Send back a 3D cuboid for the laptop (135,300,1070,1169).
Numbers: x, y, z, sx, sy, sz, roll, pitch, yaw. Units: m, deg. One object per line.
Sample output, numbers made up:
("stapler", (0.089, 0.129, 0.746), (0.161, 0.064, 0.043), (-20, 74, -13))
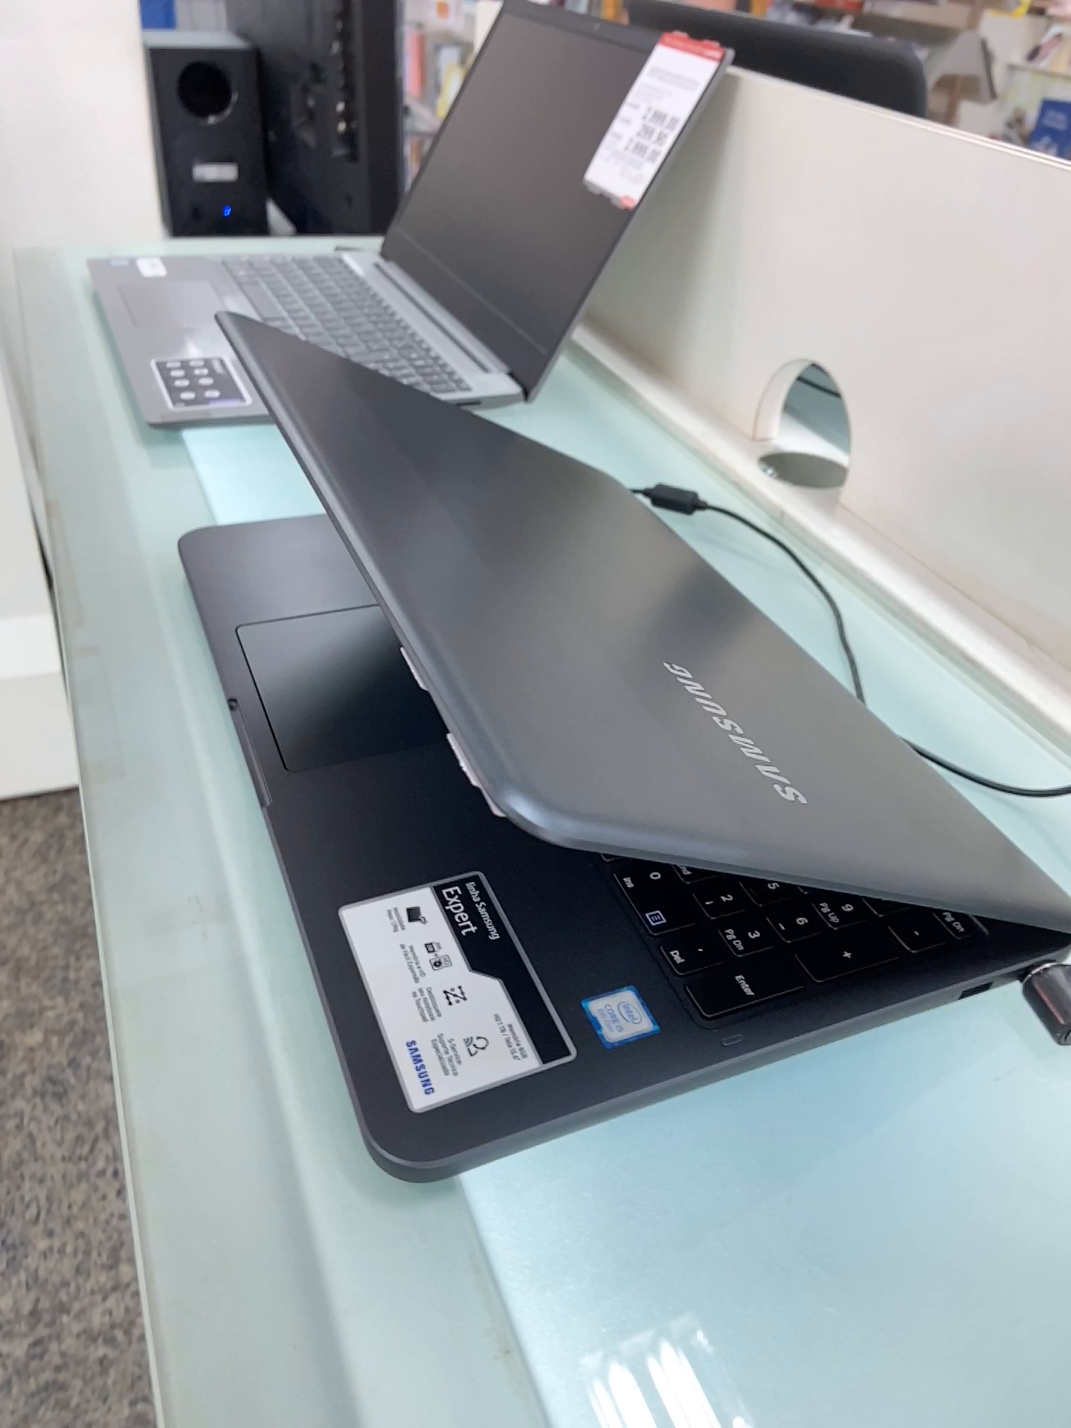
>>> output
("laptop", (-0.005, -0.050, 0.436), (0.233, 0.101, 0.378), (-12, 39, -20))
